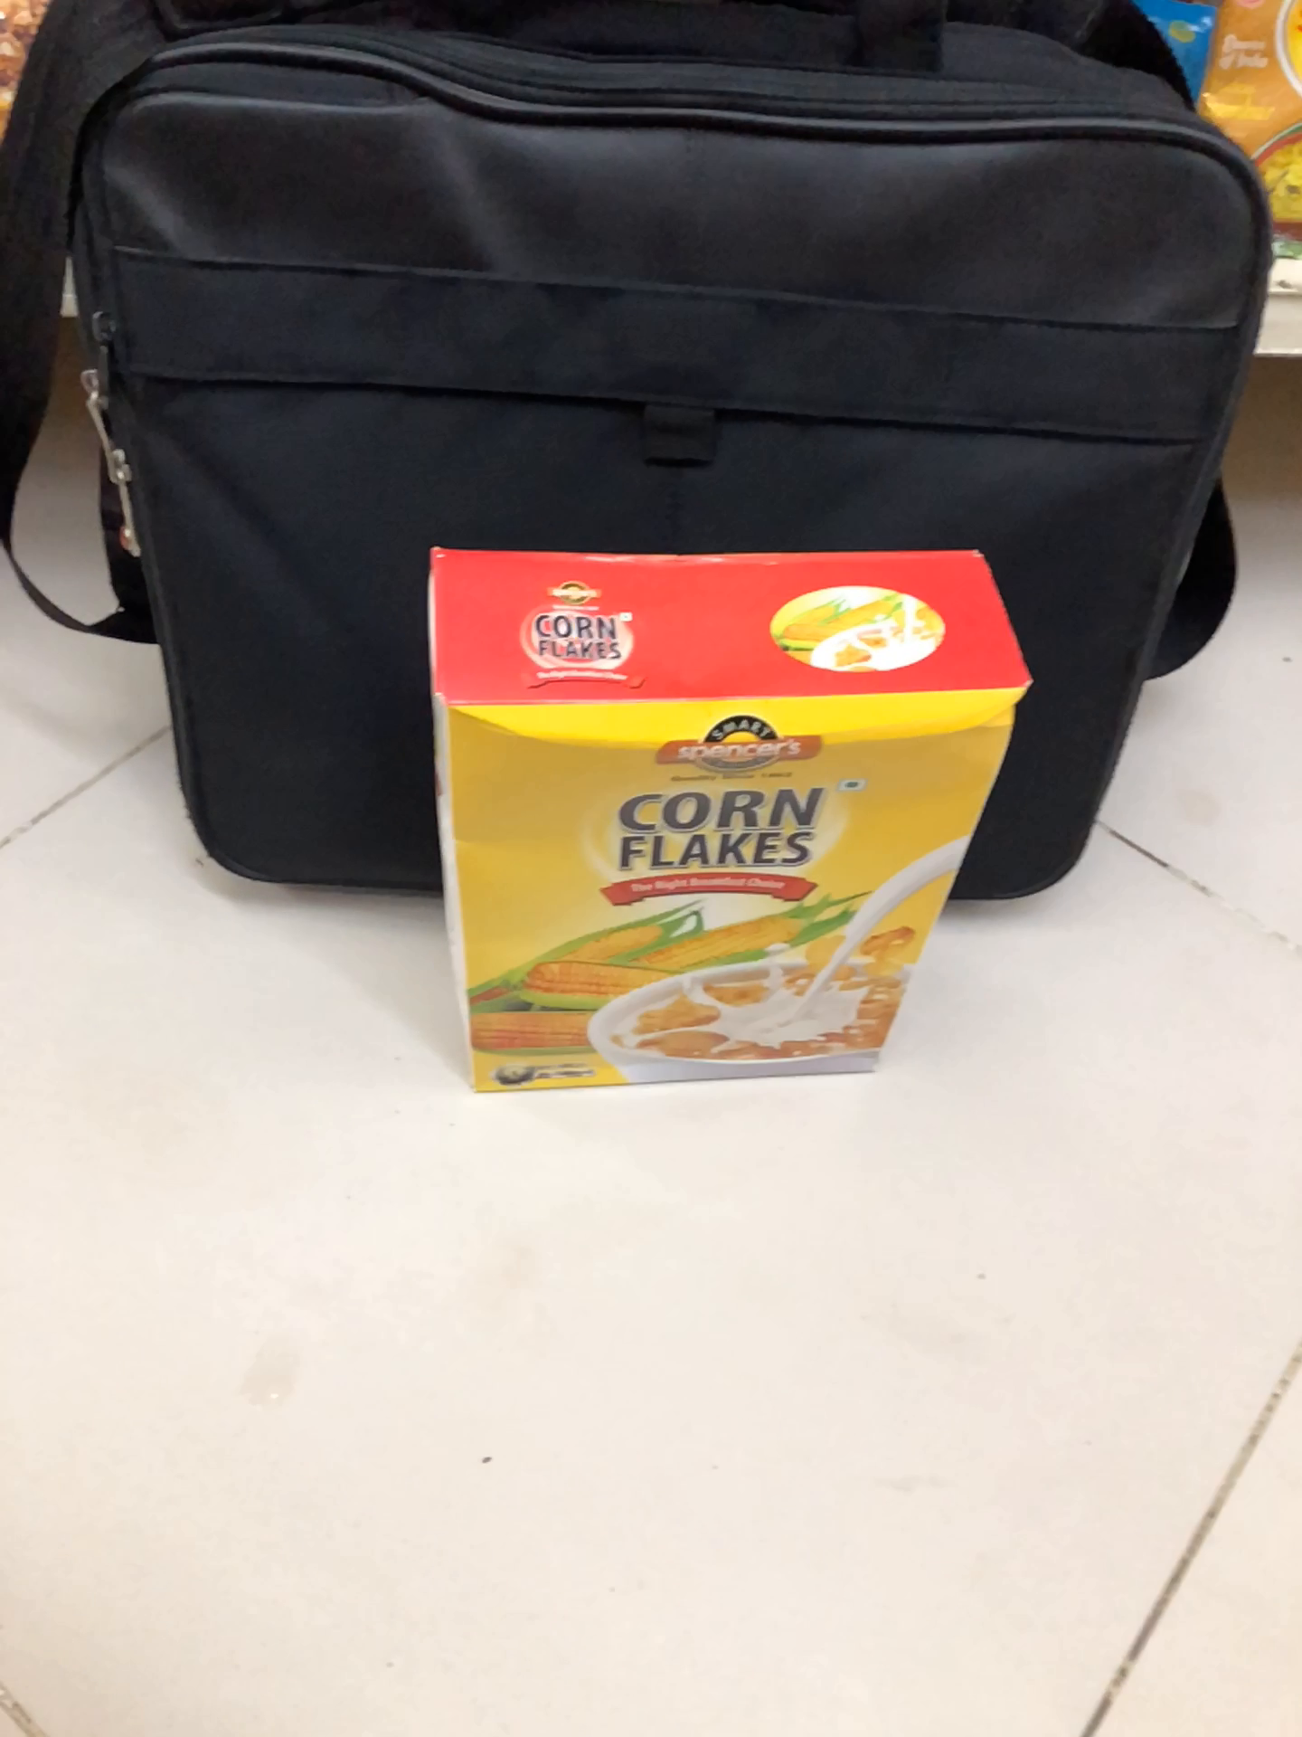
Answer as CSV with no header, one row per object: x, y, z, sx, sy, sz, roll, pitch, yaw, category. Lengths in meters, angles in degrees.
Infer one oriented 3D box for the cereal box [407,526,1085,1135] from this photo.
0.019,0.003,0.528,0.190,0.269,0.070,-2,55,-5,cereal box
